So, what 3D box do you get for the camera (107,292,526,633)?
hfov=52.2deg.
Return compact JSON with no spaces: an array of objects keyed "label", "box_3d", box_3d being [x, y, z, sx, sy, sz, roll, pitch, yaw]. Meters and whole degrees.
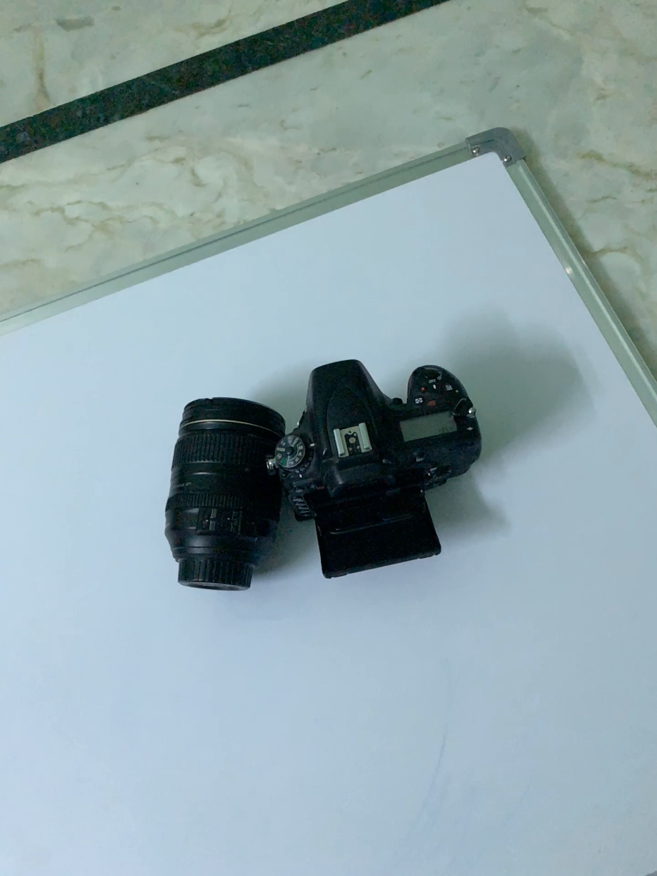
[{"label":"camera","box_3d":[-0.012,0.023,0.482,0.240,0.100,0.160,-17,69,1]}]
